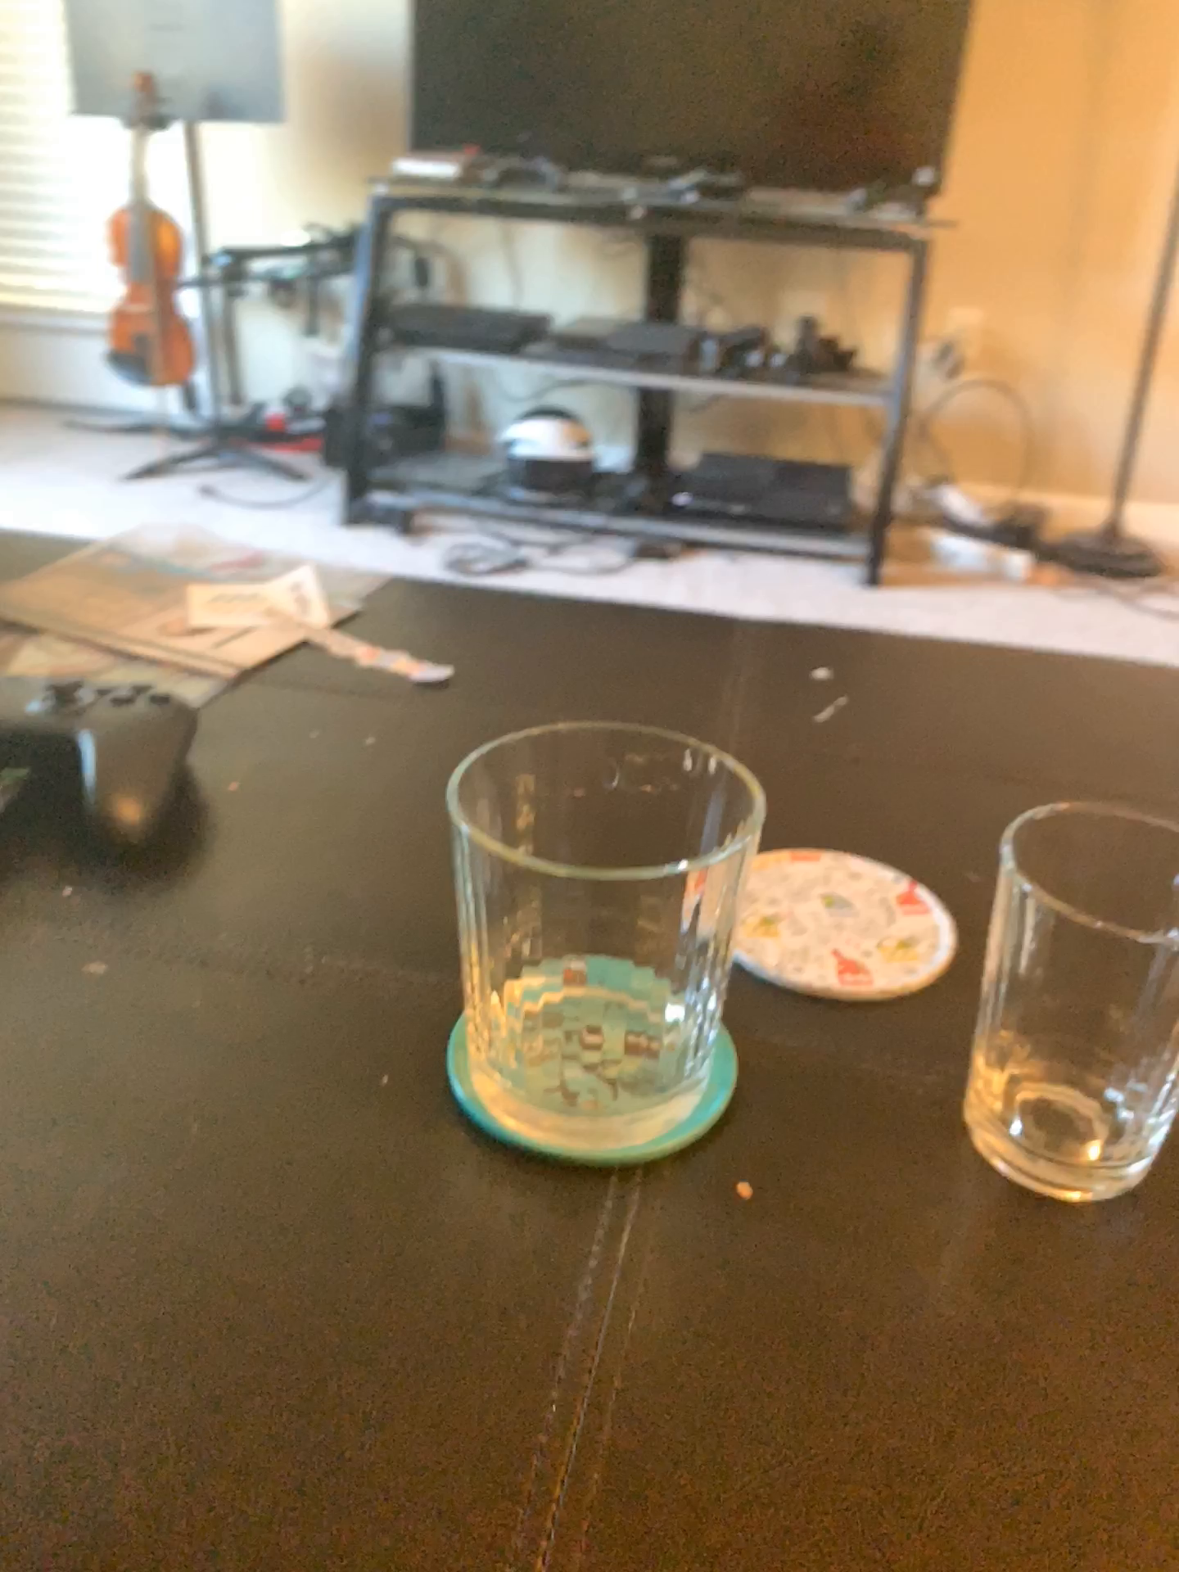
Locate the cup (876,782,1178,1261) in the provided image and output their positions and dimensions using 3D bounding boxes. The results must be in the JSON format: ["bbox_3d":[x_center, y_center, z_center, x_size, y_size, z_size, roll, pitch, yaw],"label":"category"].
[{"bbox_3d":[0.128,0.060,0.335,0.060,0.089,0.070,22,33,32],"label":"cup"}]

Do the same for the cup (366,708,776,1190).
[{"bbox_3d":[-0.006,0.042,0.358,0.080,0.089,0.080,3,27,-1],"label":"cup"}]
